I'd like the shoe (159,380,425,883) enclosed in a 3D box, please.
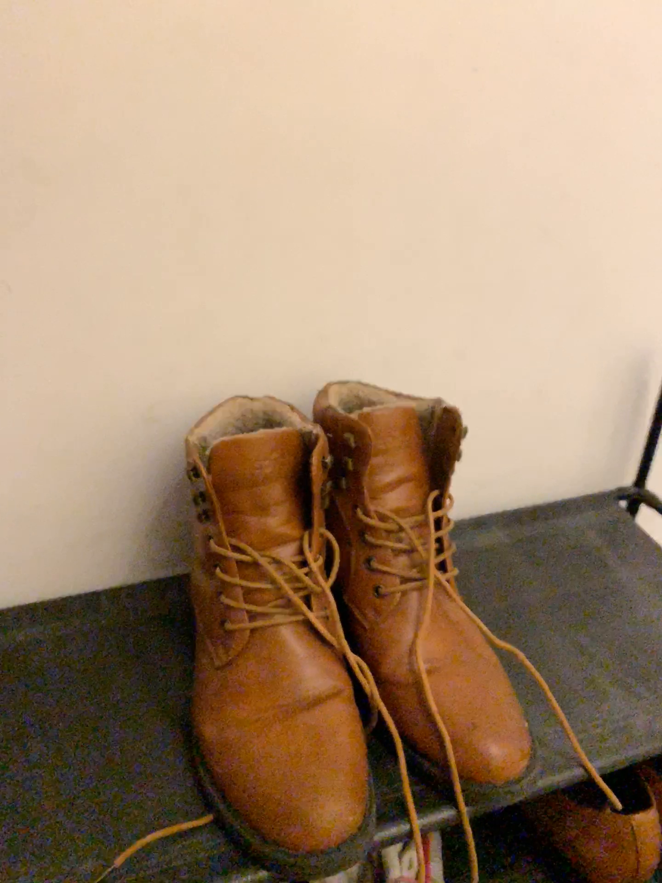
[{"bbox_3d":[-0.046,0.107,0.462,0.110,0.198,0.272,-5,28,-13],"label":"shoe"}]

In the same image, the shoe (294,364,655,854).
[{"bbox_3d":[0.066,0.089,0.473,0.110,0.198,0.242,-9,29,-20],"label":"shoe"}]
